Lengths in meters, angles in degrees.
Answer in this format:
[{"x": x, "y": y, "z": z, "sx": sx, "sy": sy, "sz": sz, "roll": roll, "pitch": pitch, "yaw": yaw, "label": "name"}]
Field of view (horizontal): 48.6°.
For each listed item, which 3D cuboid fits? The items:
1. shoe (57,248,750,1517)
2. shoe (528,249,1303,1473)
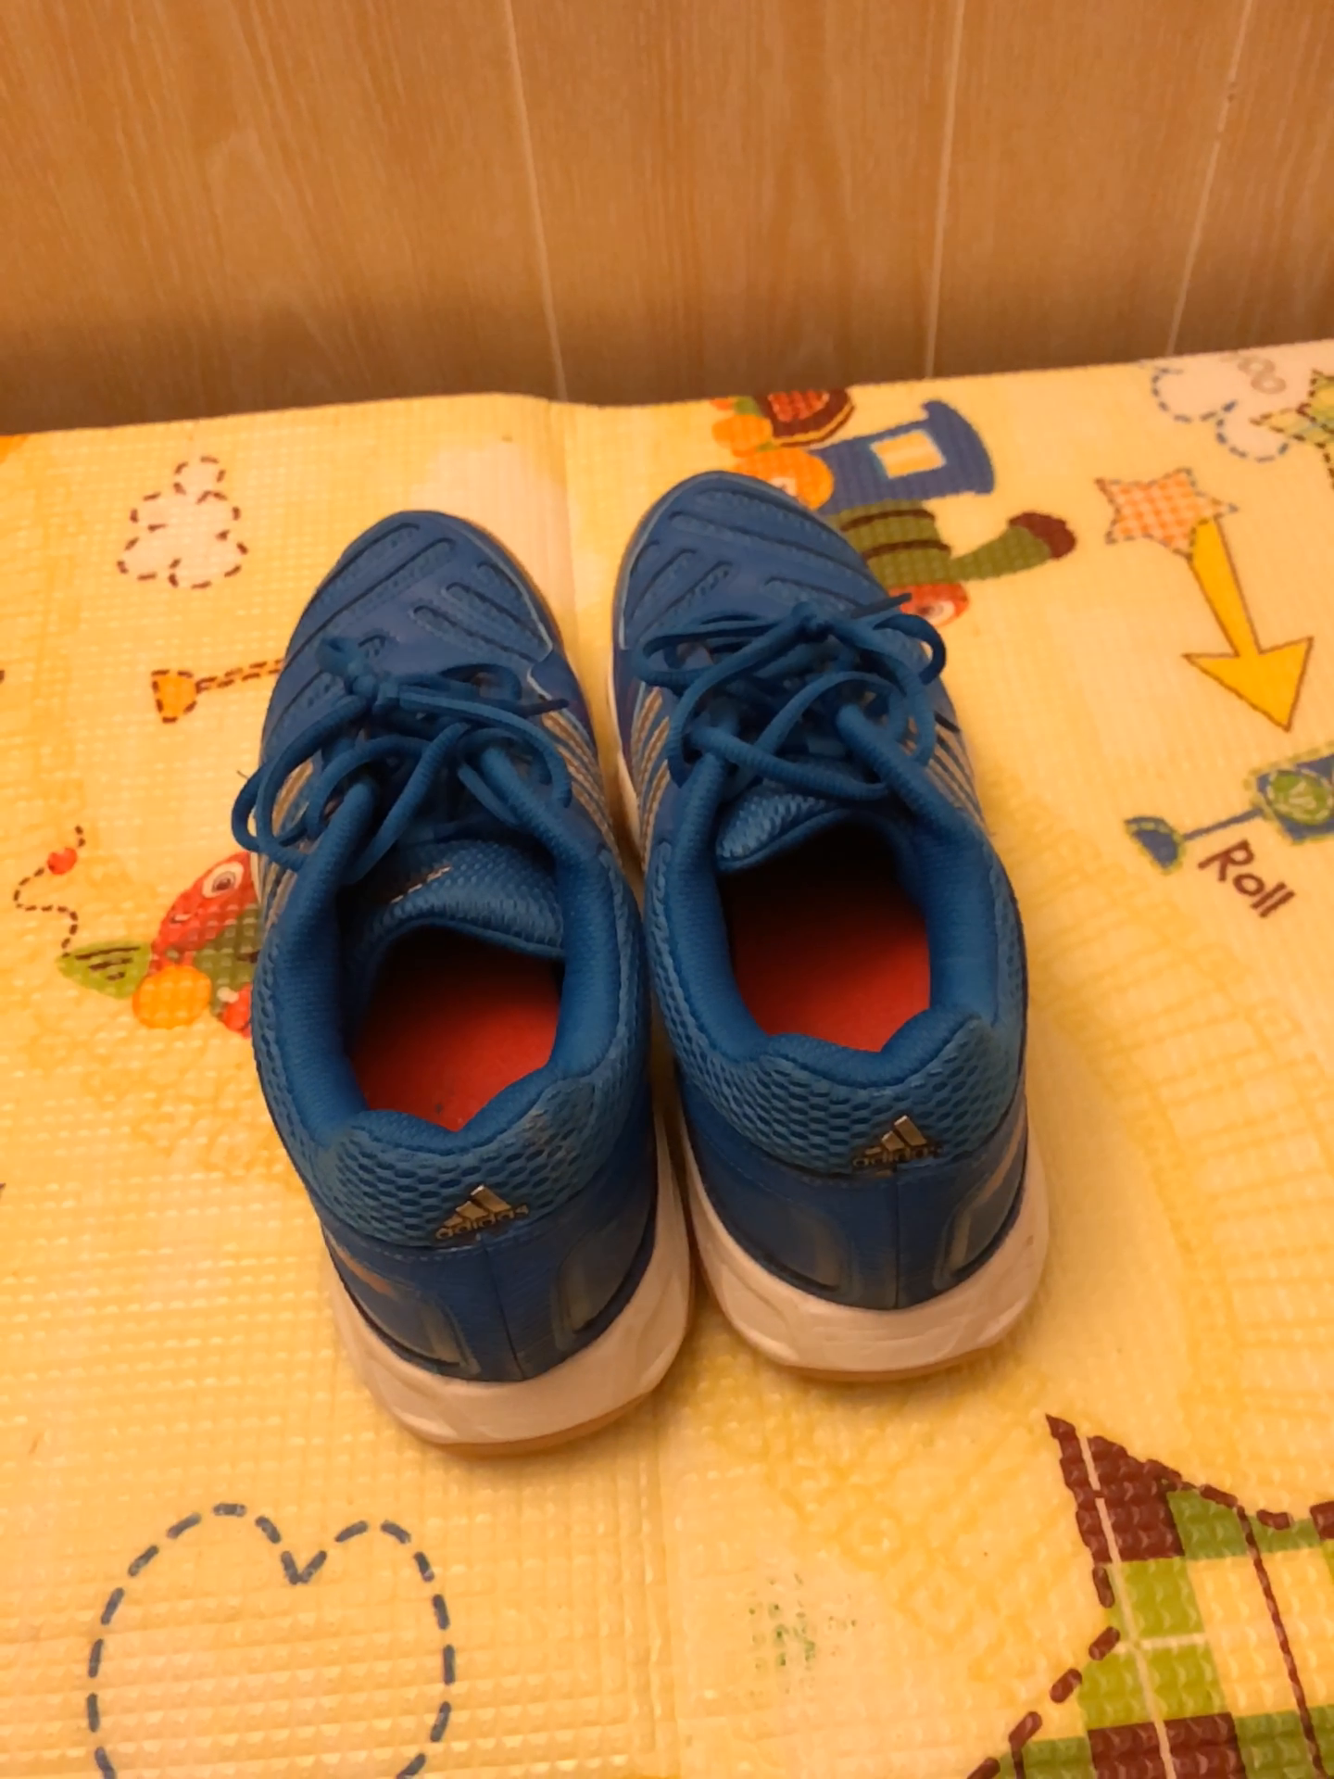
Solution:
[{"x": -0.058, "y": -0.016, "z": 0.382, "sx": 0.110, "sy": 0.139, "sz": 0.292, "roll": -8, "pitch": 53, "yaw": -2, "label": "shoe"}, {"x": 0.037, "y": -0.025, "z": 0.379, "sx": 0.110, "sy": 0.119, "sz": 0.292, "roll": -8, "pitch": 53, "yaw": -1, "label": "shoe"}]
